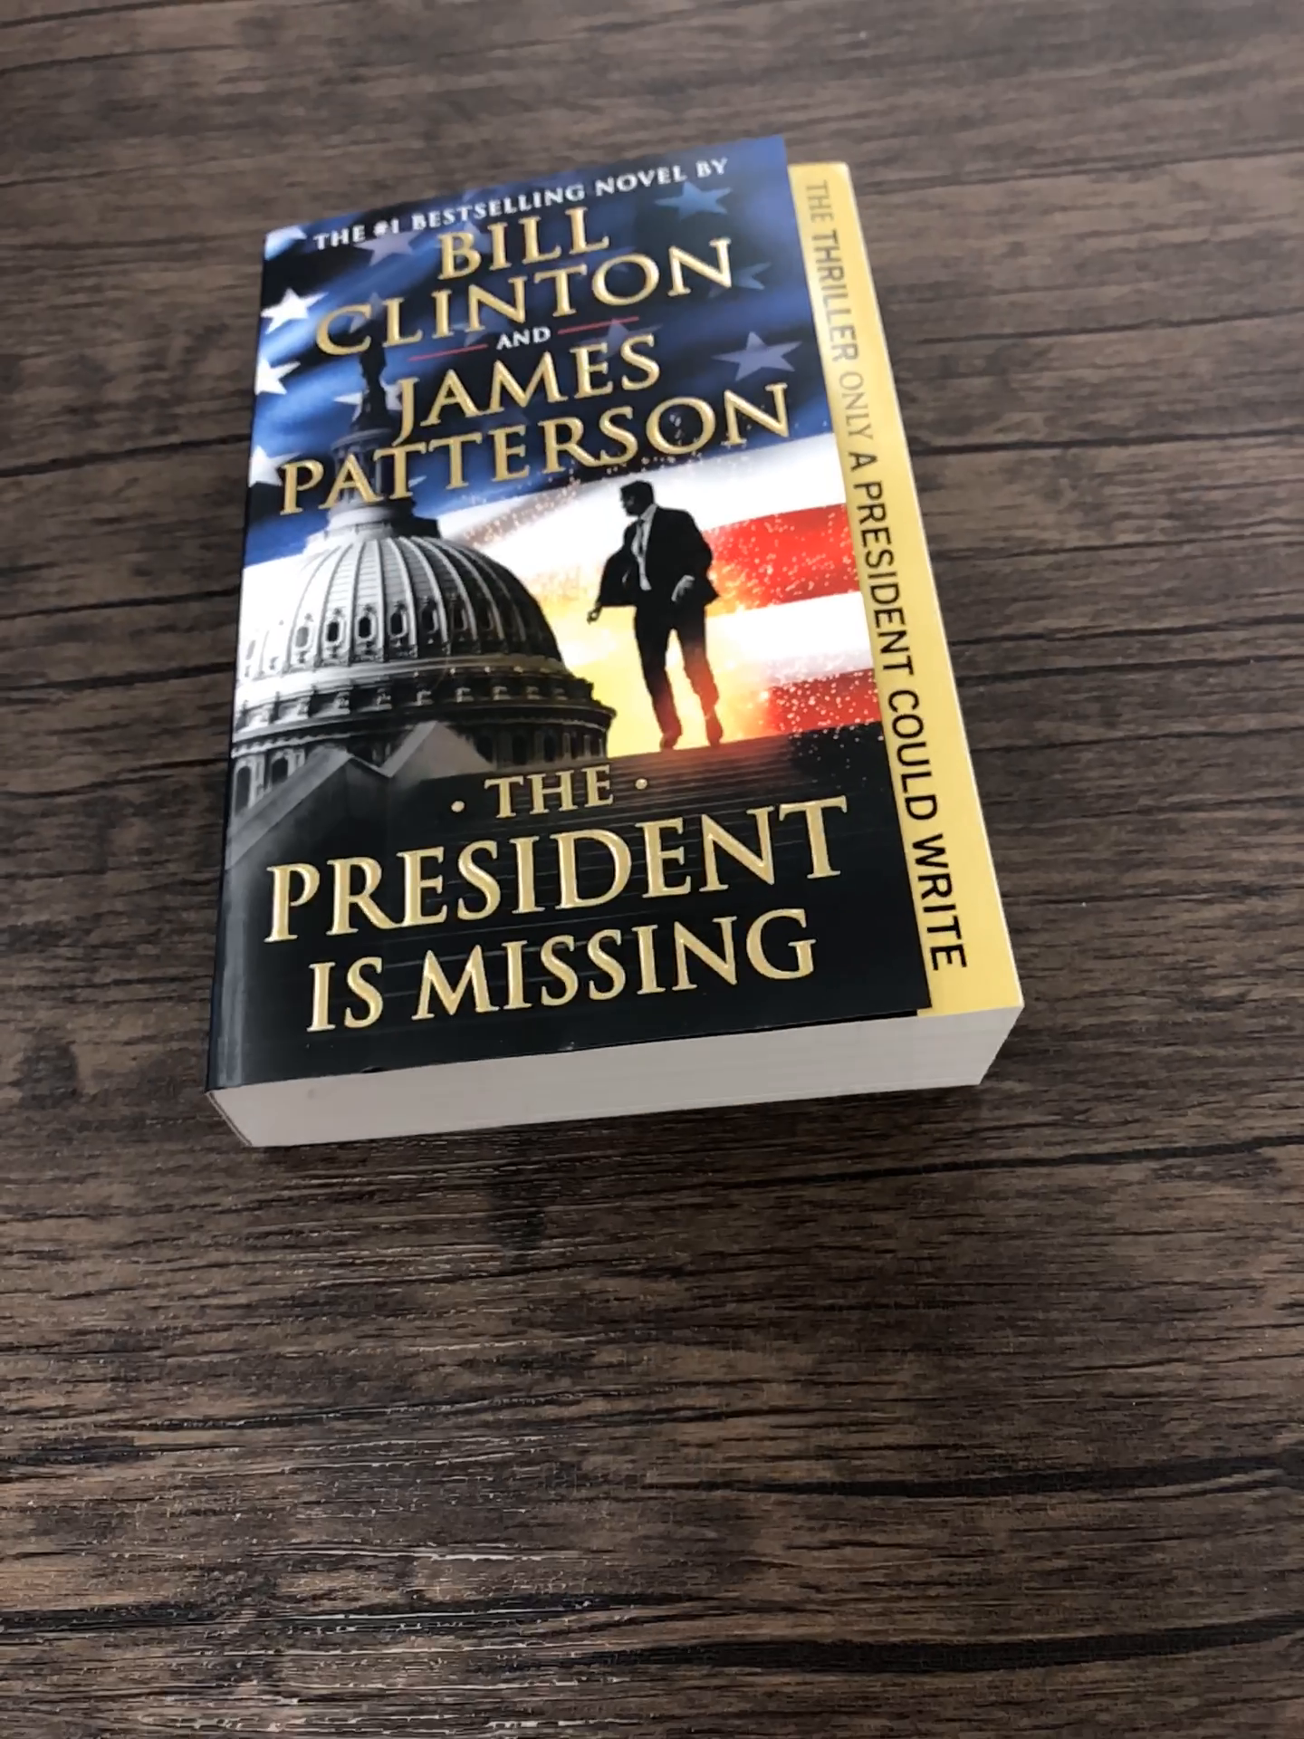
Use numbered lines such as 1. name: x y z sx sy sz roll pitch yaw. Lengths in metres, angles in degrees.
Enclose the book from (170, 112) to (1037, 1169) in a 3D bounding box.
1. book: -0.015 -0.057 0.308 0.140 0.054 0.216 -6 63 1
